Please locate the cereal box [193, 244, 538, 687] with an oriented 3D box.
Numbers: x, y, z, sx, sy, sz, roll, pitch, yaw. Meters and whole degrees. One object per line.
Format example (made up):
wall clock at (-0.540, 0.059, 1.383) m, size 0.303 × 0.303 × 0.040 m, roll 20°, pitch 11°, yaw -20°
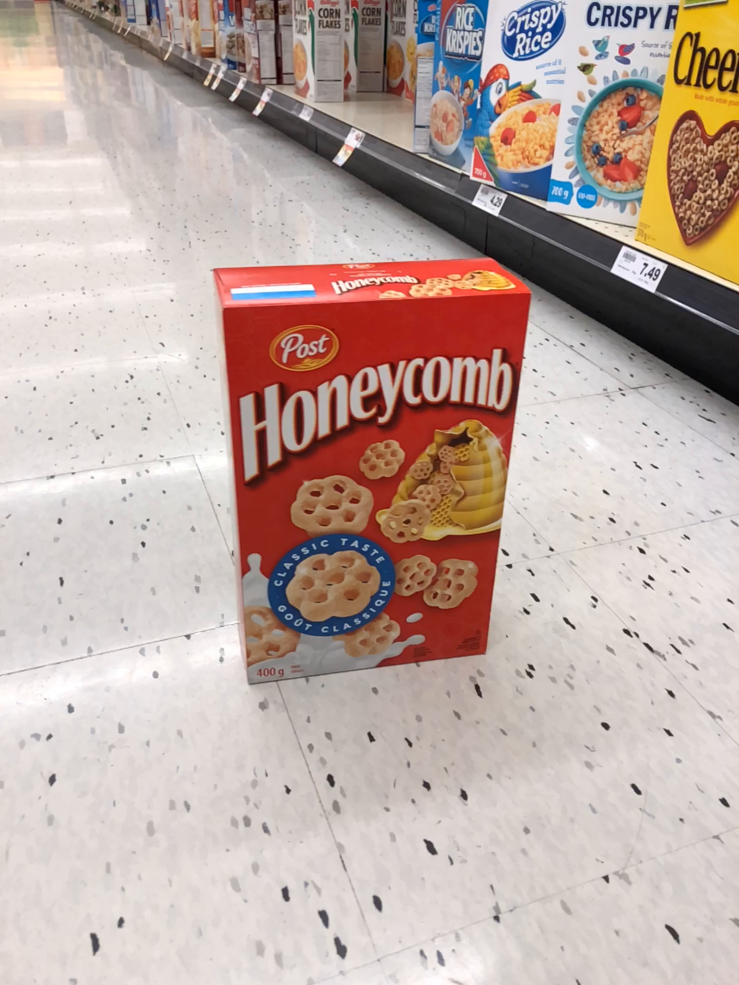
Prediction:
cereal box at (-0.010, -0.013, 0.575) m, size 0.200 × 0.298 × 0.080 m, roll -5°, pitch 32°, yaw -11°
